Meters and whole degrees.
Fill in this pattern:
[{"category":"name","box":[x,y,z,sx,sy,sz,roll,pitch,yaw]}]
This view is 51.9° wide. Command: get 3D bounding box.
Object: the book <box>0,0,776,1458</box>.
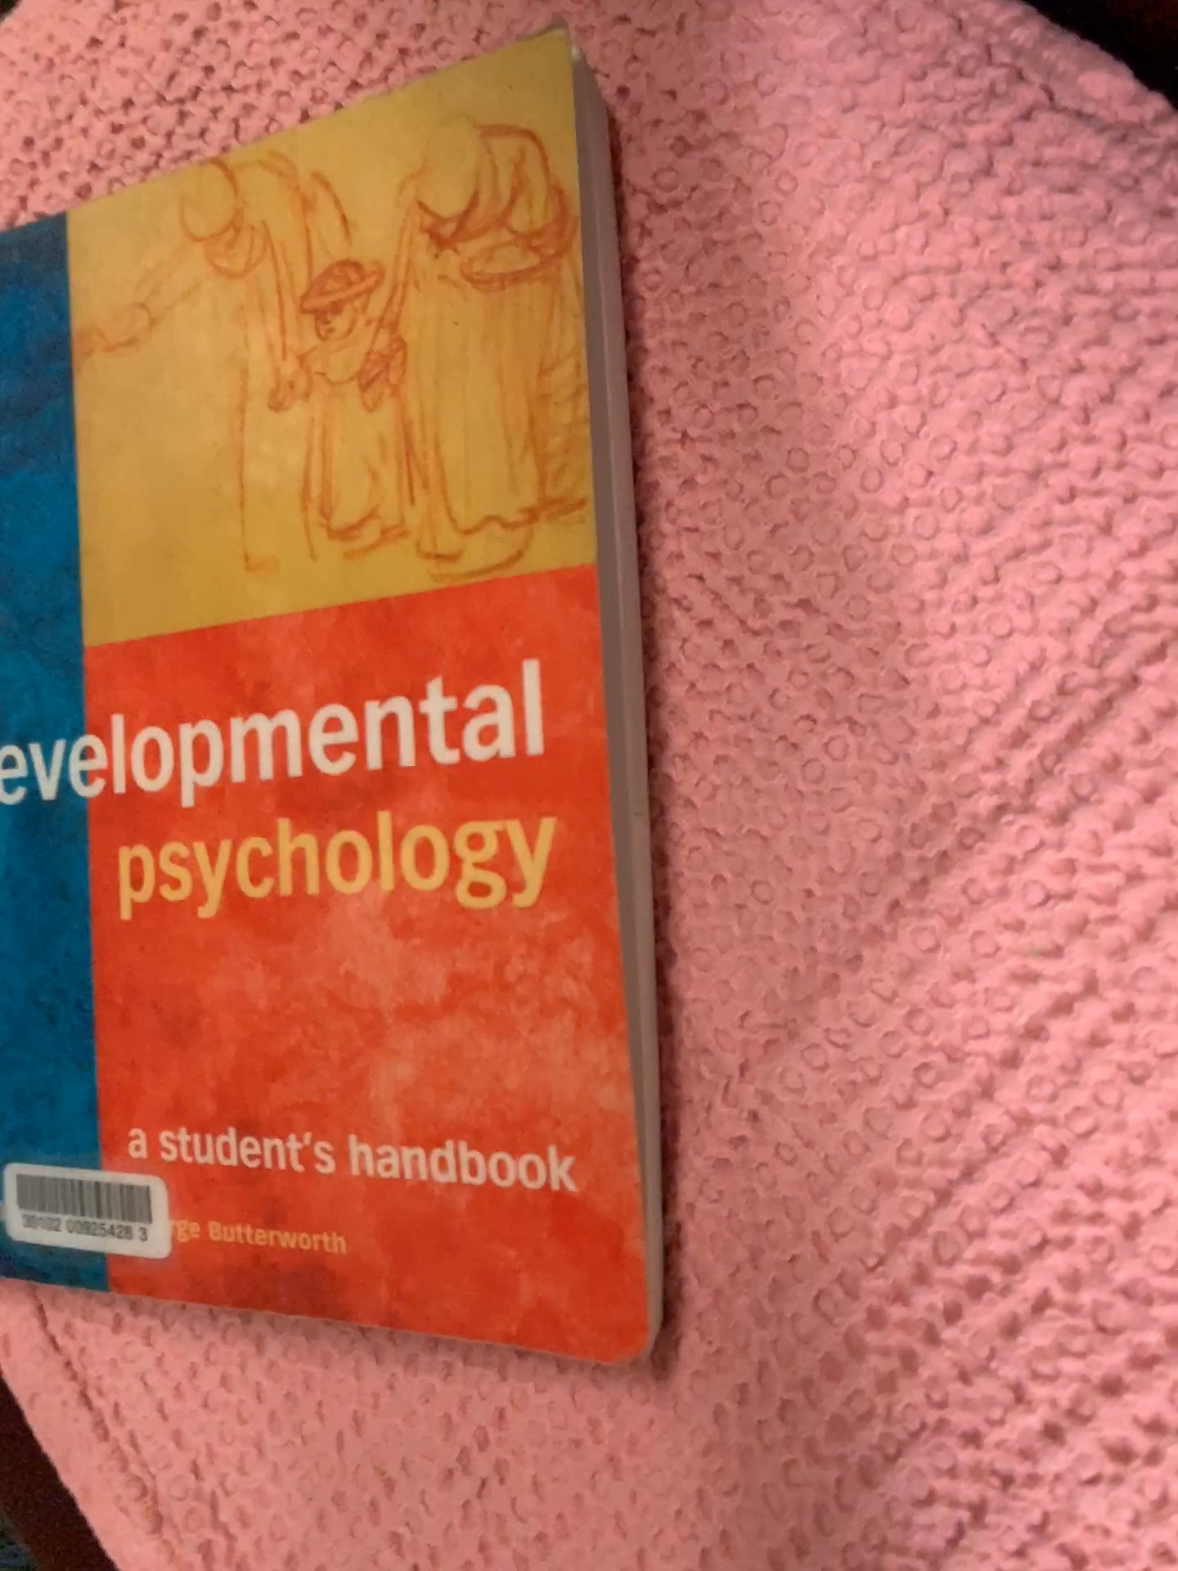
[{"category":"book","box":[-0.077,-0.013,0.261,0.210,0.040,0.260,-5,85,23]}]
